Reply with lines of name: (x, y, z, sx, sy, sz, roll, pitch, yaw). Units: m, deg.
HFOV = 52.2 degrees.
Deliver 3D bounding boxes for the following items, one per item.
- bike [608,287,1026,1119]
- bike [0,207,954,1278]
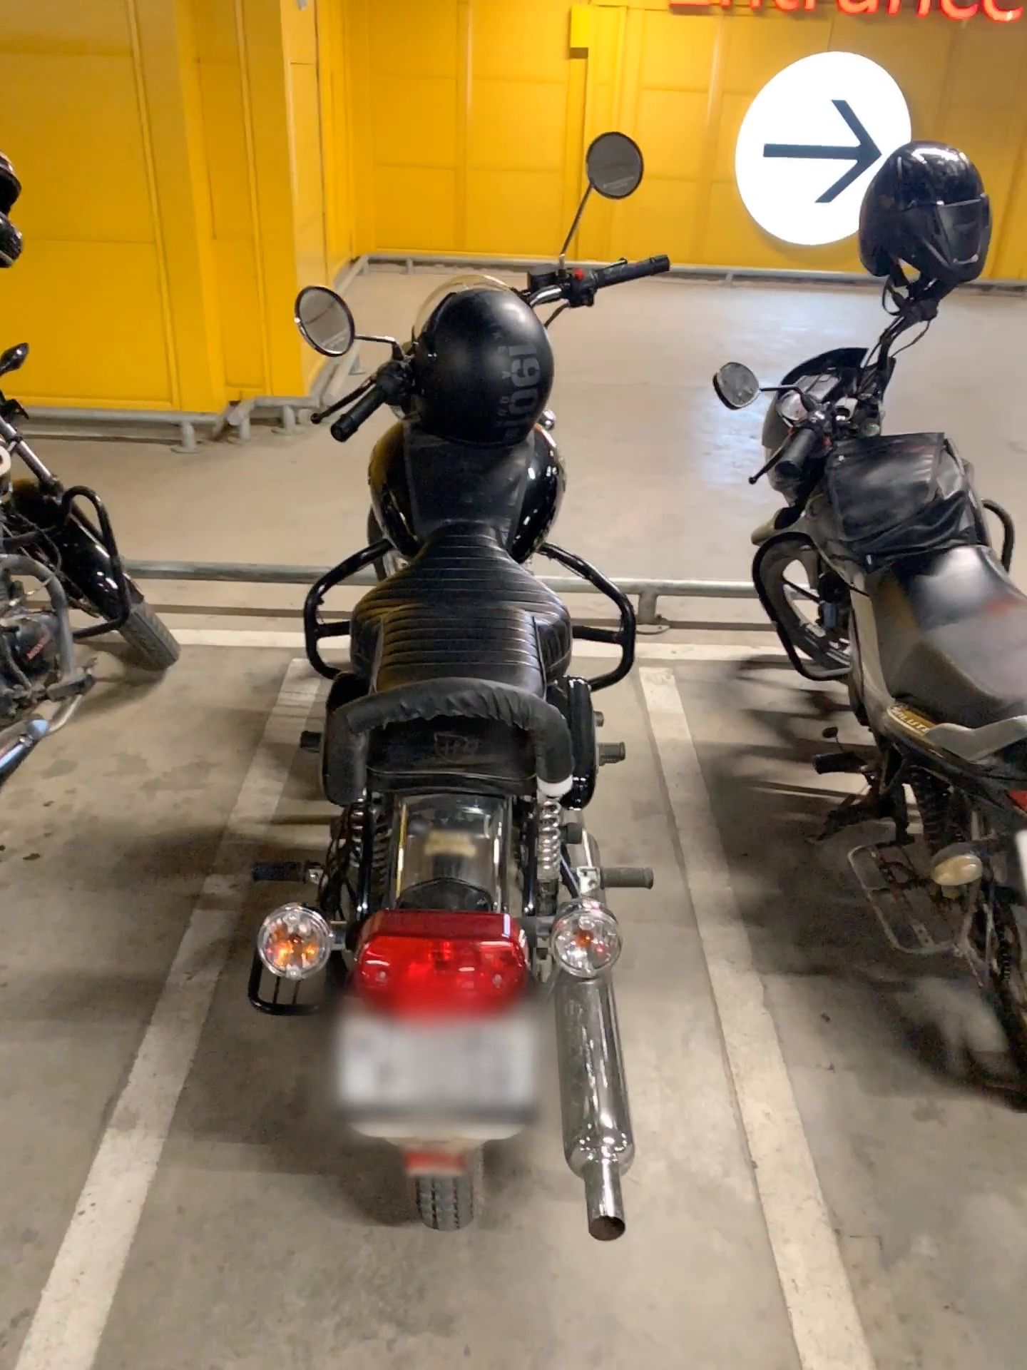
bike: (0.647, -0.180, 2.054, 0.598, 0.925, 1.727, 0, 27, -4)
bike: (-0.207, -0.169, 1.869, 0.763, 1.051, 1.834, -2, 29, -8)
